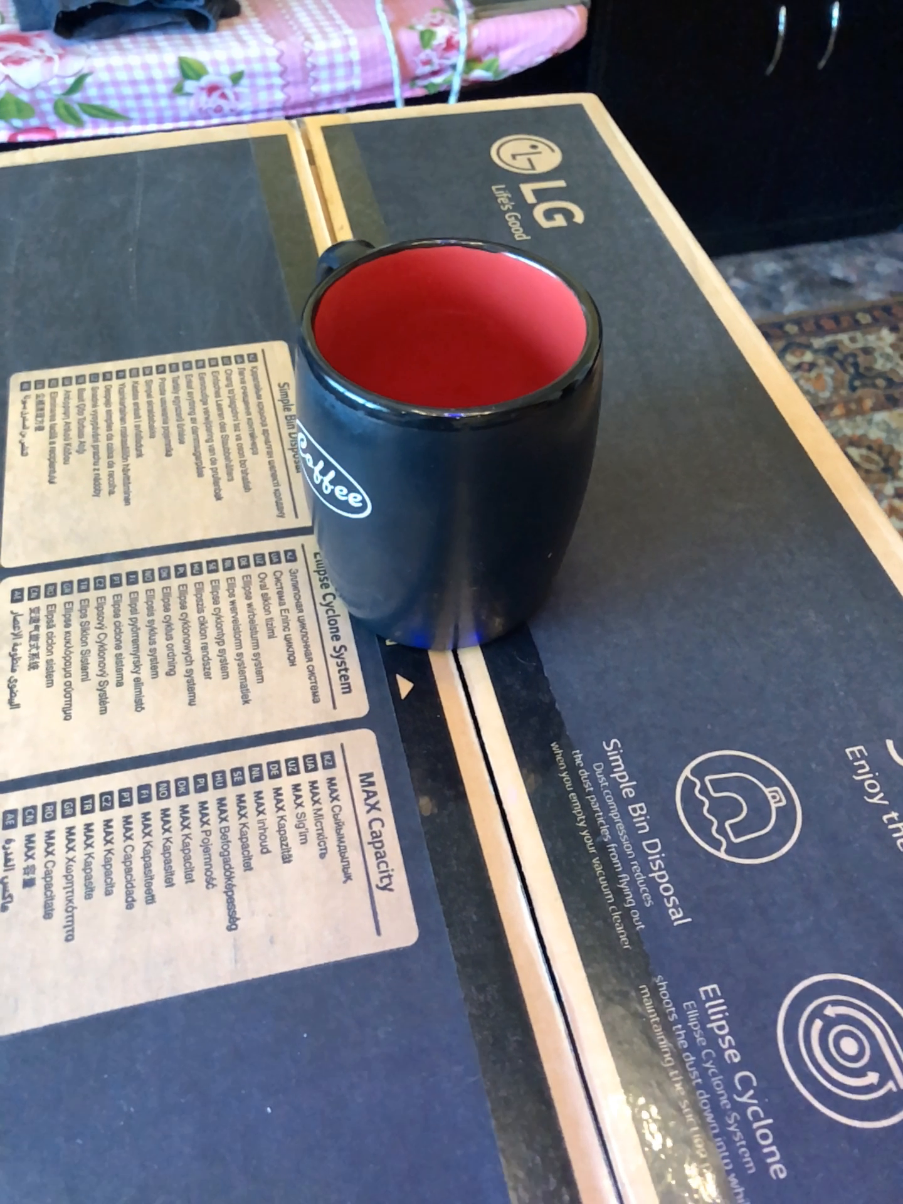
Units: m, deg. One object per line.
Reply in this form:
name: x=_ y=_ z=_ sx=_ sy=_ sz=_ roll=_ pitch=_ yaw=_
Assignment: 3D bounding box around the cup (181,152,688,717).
cup: x=-0.010 y=-0.053 z=0.299 sx=0.090 sy=0.090 sz=0.120 roll=-21 pitch=56 yaw=-16
